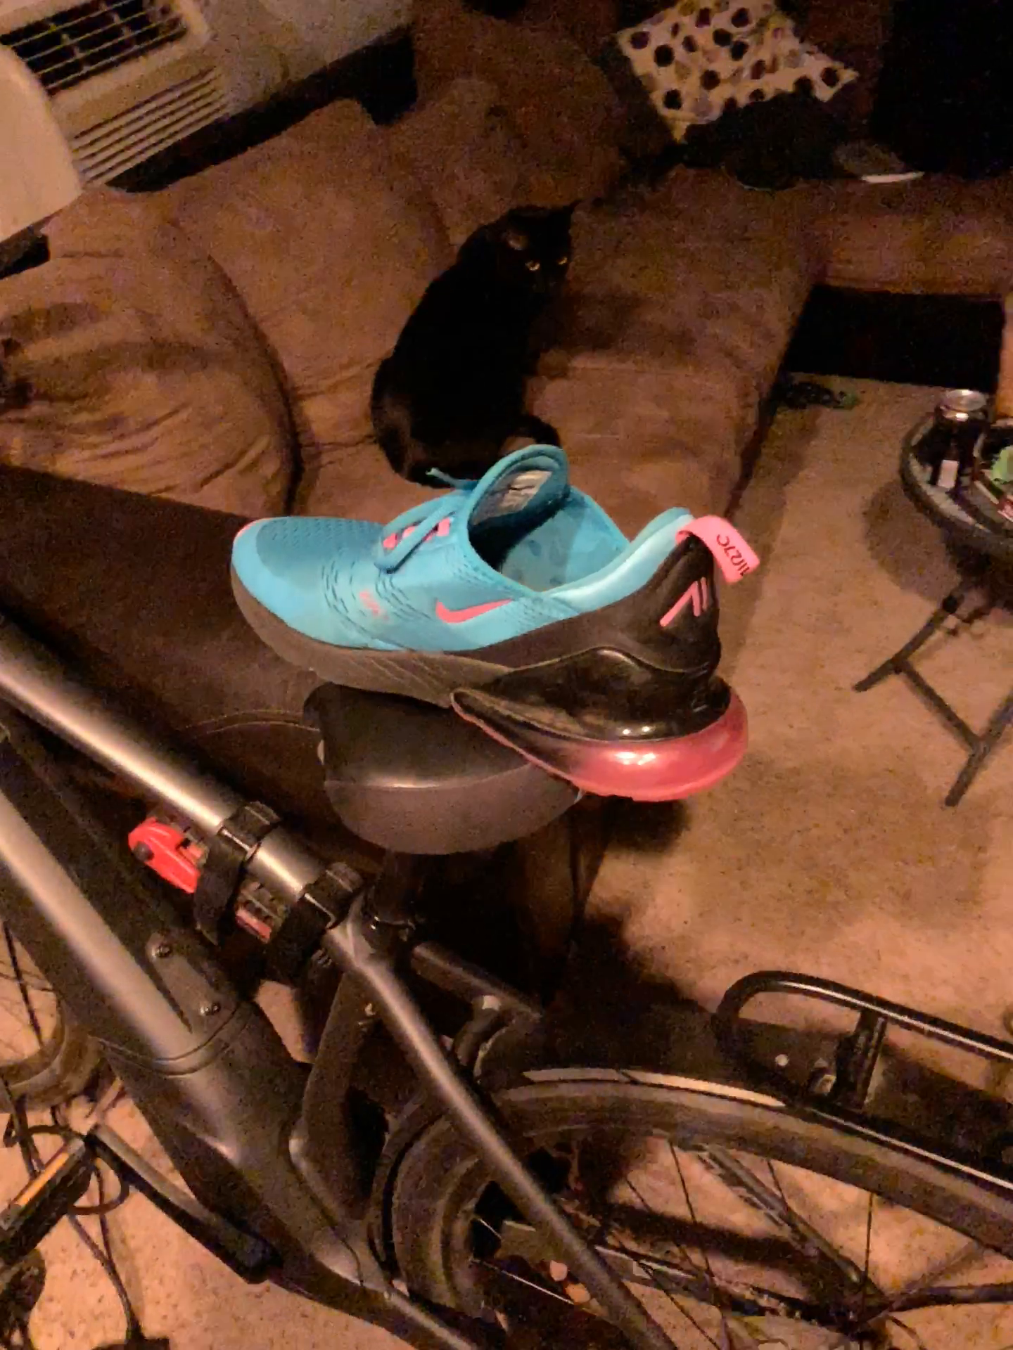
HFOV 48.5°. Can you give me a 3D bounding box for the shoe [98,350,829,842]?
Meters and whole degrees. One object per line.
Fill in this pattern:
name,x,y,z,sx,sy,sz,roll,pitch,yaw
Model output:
shoe,-0.022,-0.058,0.595,0.330,0.130,0.150,16,44,22
